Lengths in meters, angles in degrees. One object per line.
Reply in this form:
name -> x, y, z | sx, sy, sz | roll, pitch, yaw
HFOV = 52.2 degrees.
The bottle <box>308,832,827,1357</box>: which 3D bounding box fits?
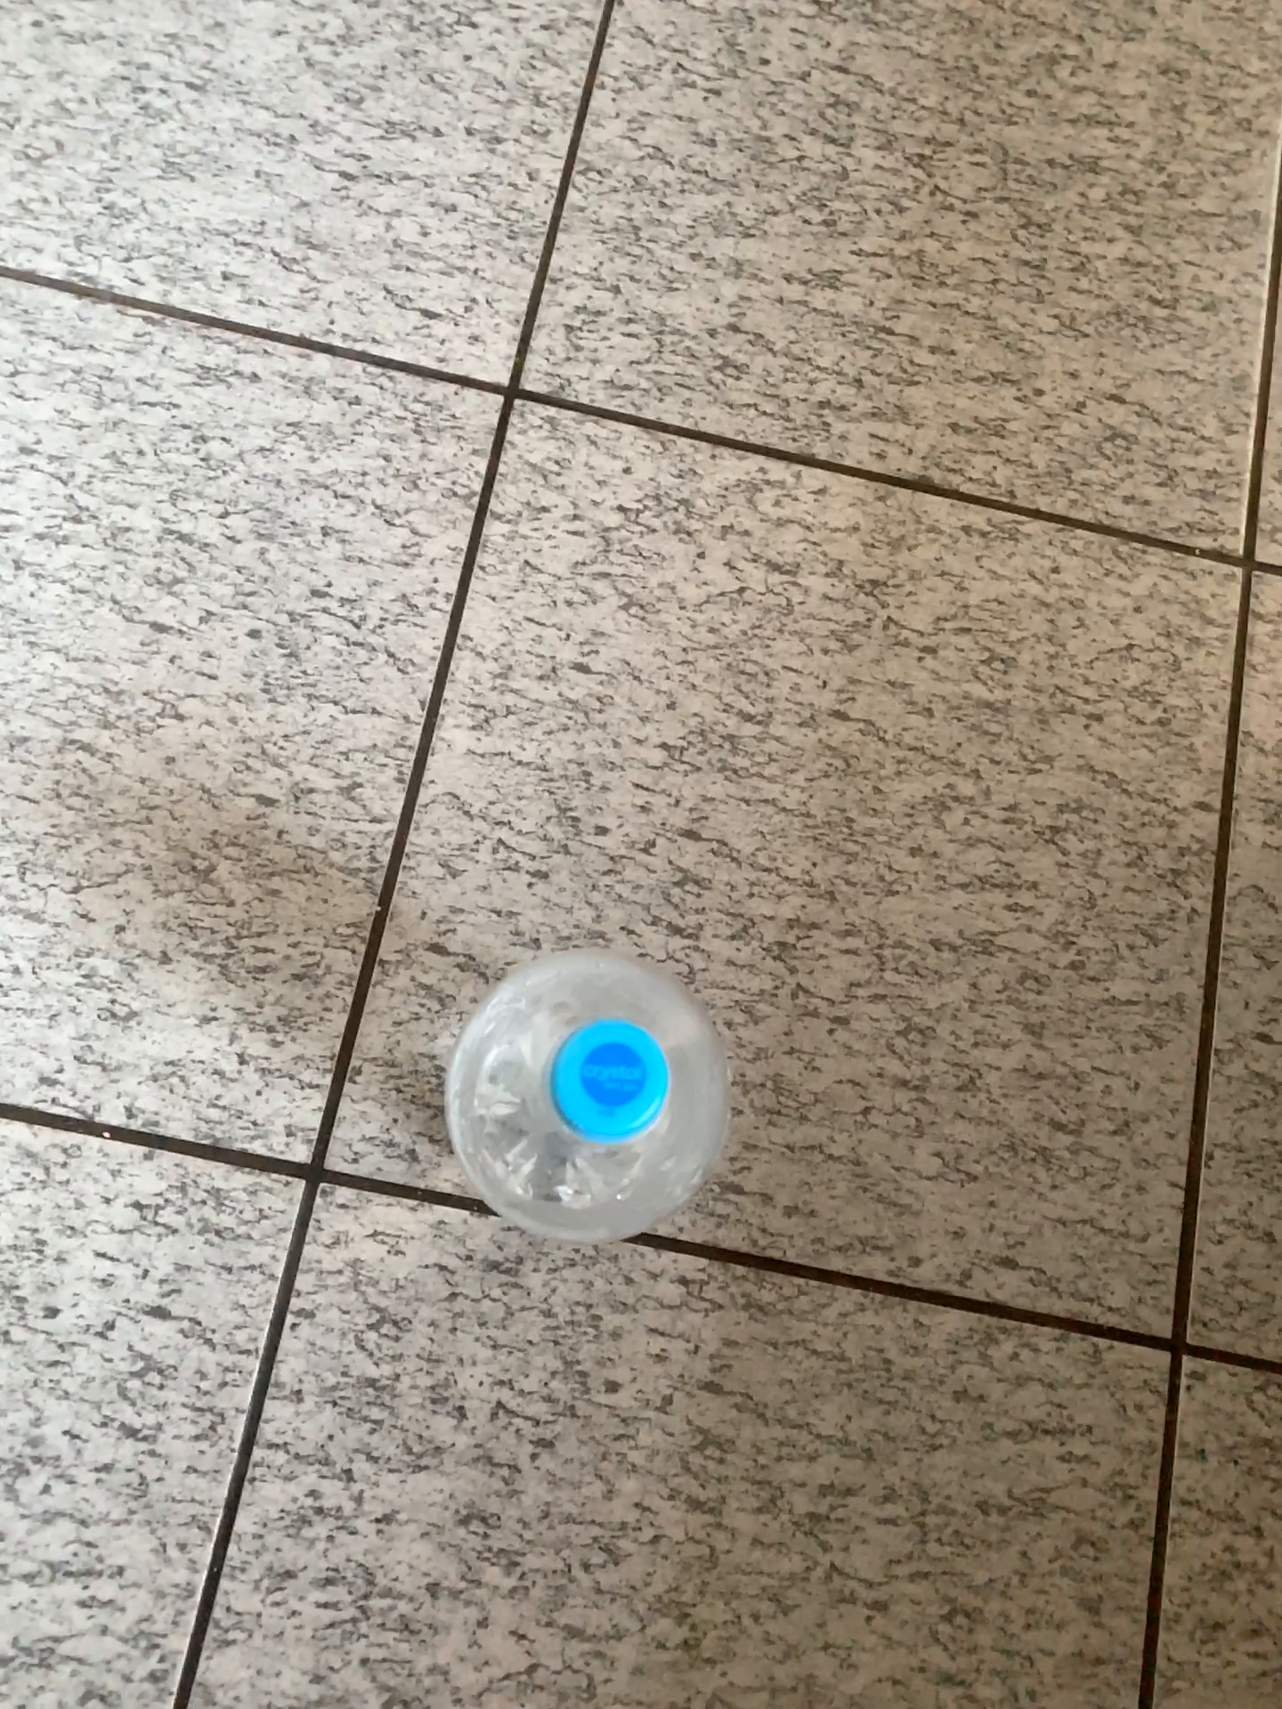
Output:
bottle -> -0.029, 0.088, 0.454 | 0.090, 0.300, 0.090 | 1, 77, -5
